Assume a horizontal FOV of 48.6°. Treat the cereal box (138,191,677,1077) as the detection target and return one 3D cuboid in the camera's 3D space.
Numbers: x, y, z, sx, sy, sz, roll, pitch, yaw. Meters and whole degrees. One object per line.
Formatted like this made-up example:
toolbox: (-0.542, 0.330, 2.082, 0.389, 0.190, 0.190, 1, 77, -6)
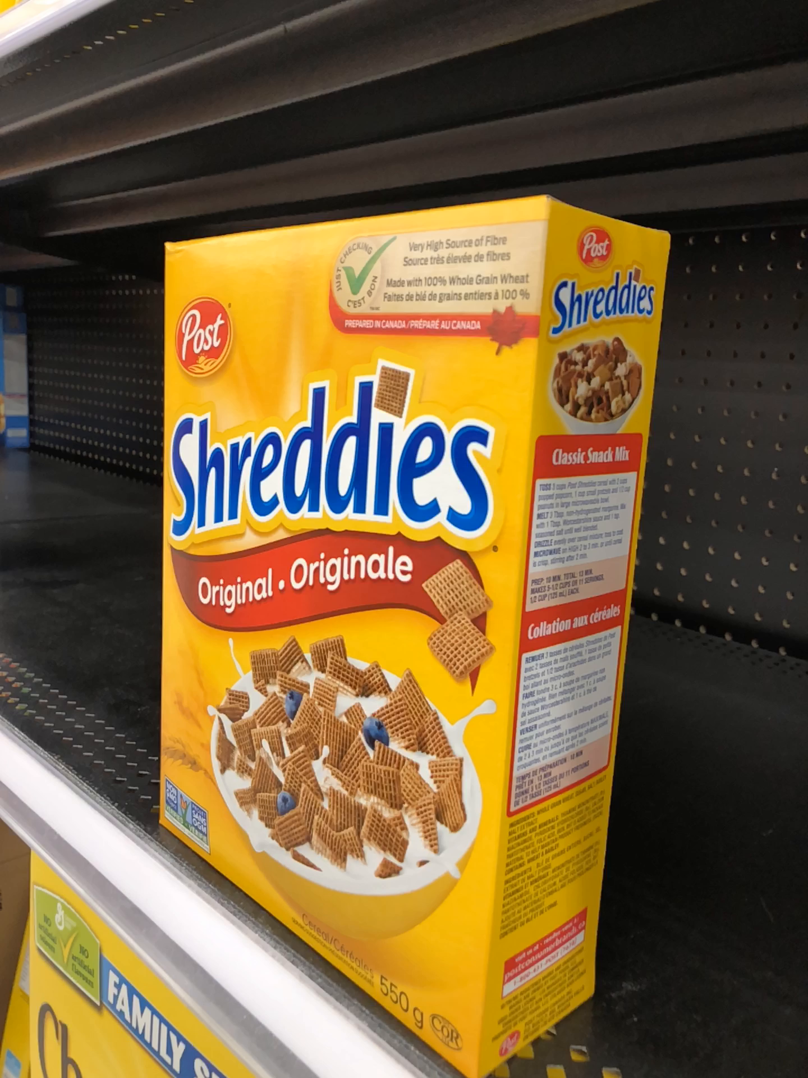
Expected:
cereal box: (-0.020, 0.017, 0.349, 0.070, 0.259, 0.210, -7, 14, -44)
